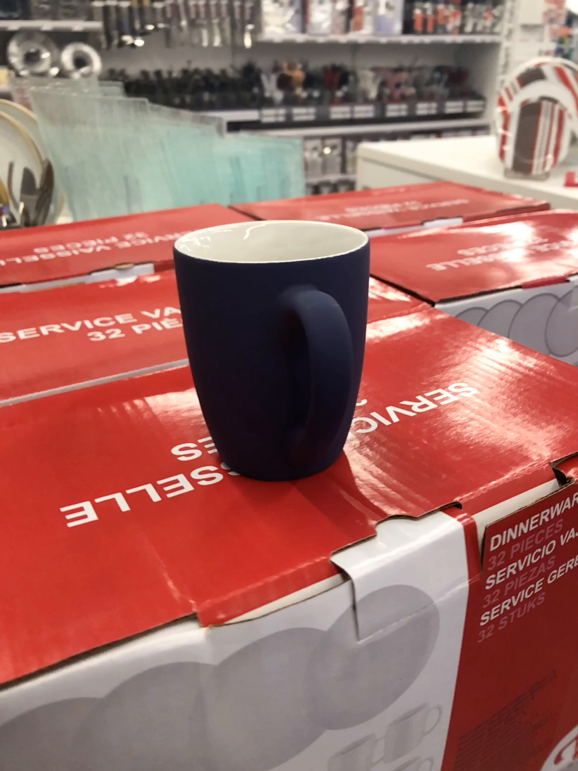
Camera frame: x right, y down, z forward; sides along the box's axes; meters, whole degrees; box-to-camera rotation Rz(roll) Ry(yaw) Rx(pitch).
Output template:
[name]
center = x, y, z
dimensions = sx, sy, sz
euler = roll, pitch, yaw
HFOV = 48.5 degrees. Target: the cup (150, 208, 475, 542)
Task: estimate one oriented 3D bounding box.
[cup]
center = 0.003, -0.017, 0.273
dimensions = 0.091, 0.088, 0.121
euler = -13, 26, -17
